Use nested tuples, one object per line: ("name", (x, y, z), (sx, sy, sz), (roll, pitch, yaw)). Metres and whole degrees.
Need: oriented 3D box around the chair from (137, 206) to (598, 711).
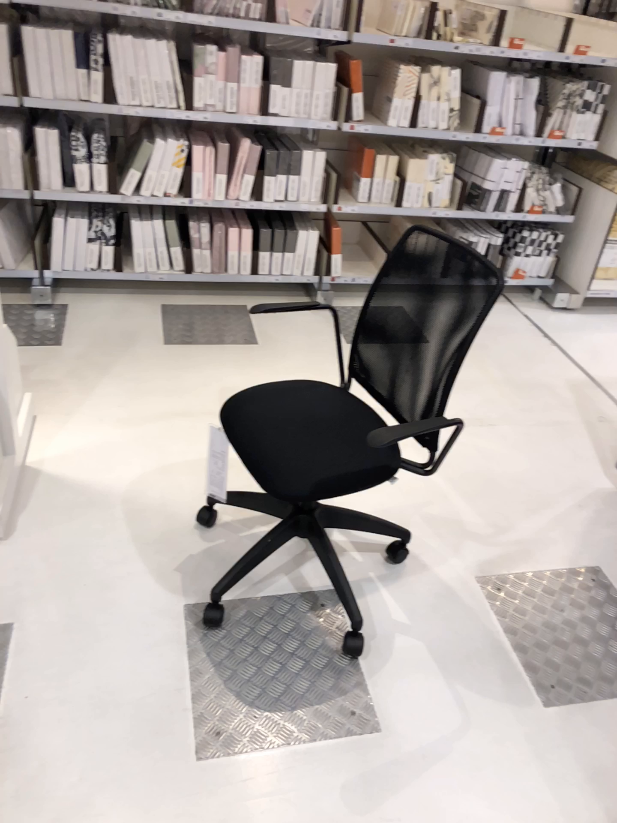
("chair", (0.048, 0.047, 1.551), (0.692, 0.813, 0.634), (-11, 36, -26))
